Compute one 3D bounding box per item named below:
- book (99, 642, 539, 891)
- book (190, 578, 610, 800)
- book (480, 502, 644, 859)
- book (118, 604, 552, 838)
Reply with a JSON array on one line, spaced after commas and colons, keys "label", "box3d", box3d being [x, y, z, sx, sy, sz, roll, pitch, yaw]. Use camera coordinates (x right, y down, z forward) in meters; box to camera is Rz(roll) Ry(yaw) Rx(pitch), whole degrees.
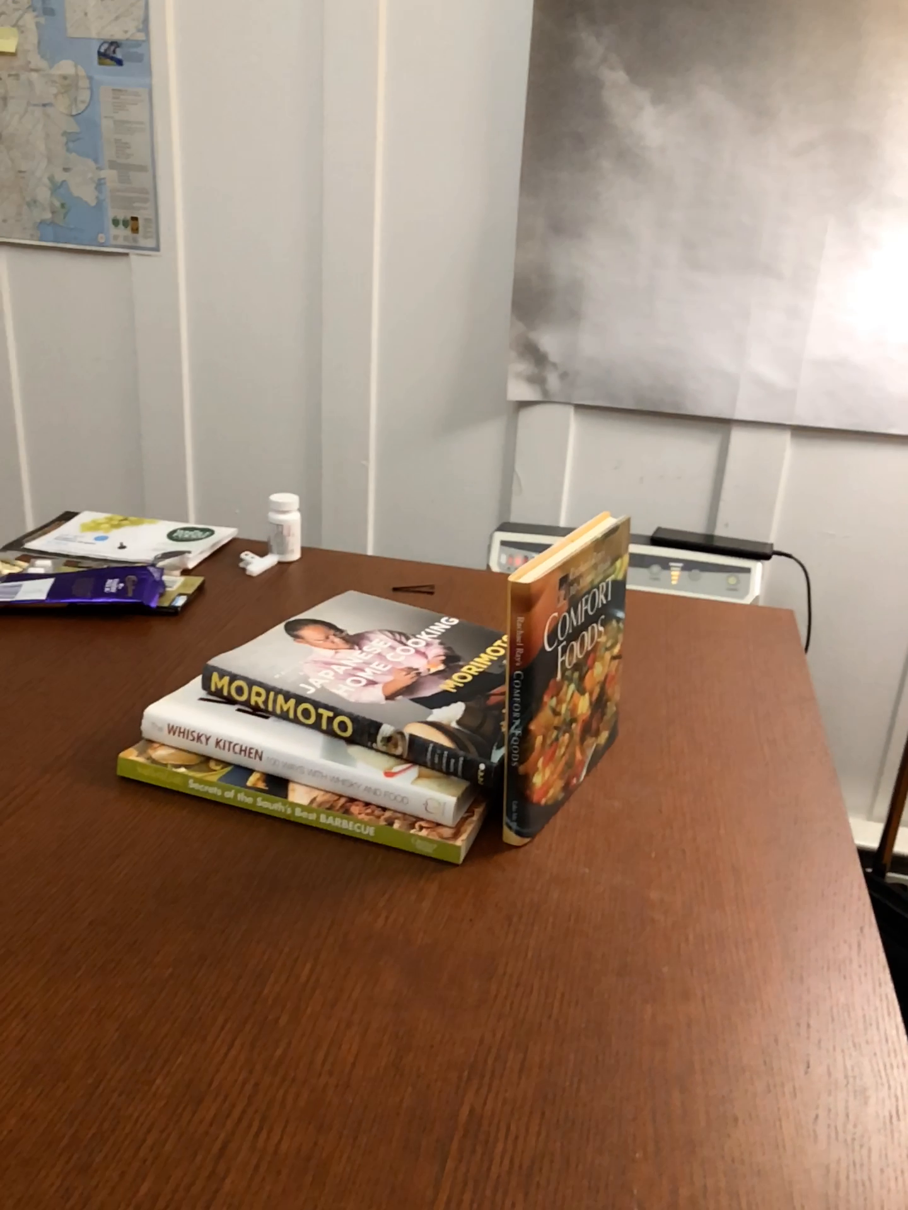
[{"label": "book", "box3d": [-0.096, 0.114, 0.805, 0.280, 0.030, 0.221, 12, 24, 16]}, {"label": "book", "box3d": [-0.038, 0.055, 0.844, 0.280, 0.030, 0.221, 15, 25, 23]}, {"label": "book", "box3d": [0.086, 0.047, 0.762, 0.030, 0.209, 0.211, 12, 22, 26]}, {"label": "book", "box3d": [-0.086, 0.079, 0.818, 0.280, 0.030, 0.221, 13, 24, 18]}]
